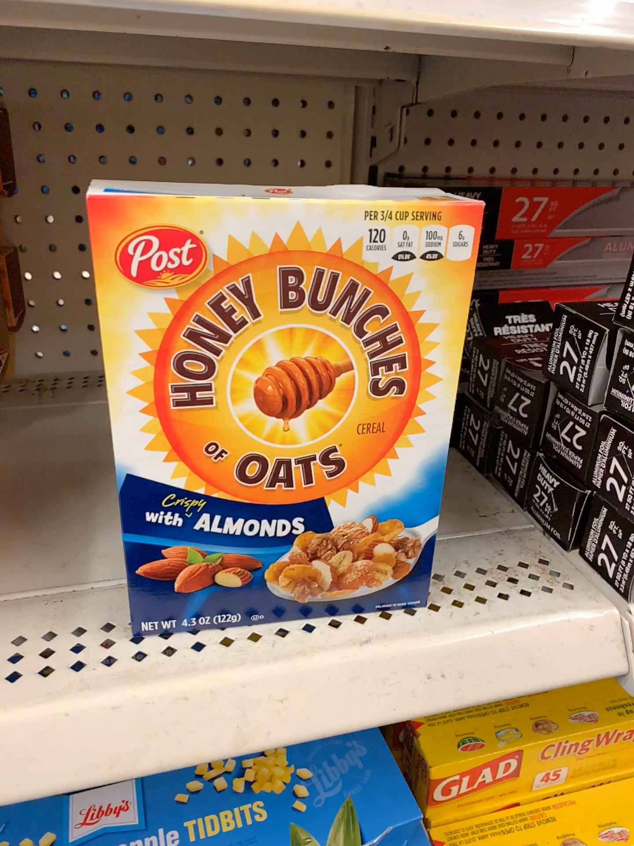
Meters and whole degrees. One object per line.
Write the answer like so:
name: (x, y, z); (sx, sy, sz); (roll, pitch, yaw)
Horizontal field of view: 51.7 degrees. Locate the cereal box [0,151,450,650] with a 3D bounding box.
cereal box: (-0.036, -0.006, 0.268); (0.150, 0.189, 0.050); (-3, 25, -10)
